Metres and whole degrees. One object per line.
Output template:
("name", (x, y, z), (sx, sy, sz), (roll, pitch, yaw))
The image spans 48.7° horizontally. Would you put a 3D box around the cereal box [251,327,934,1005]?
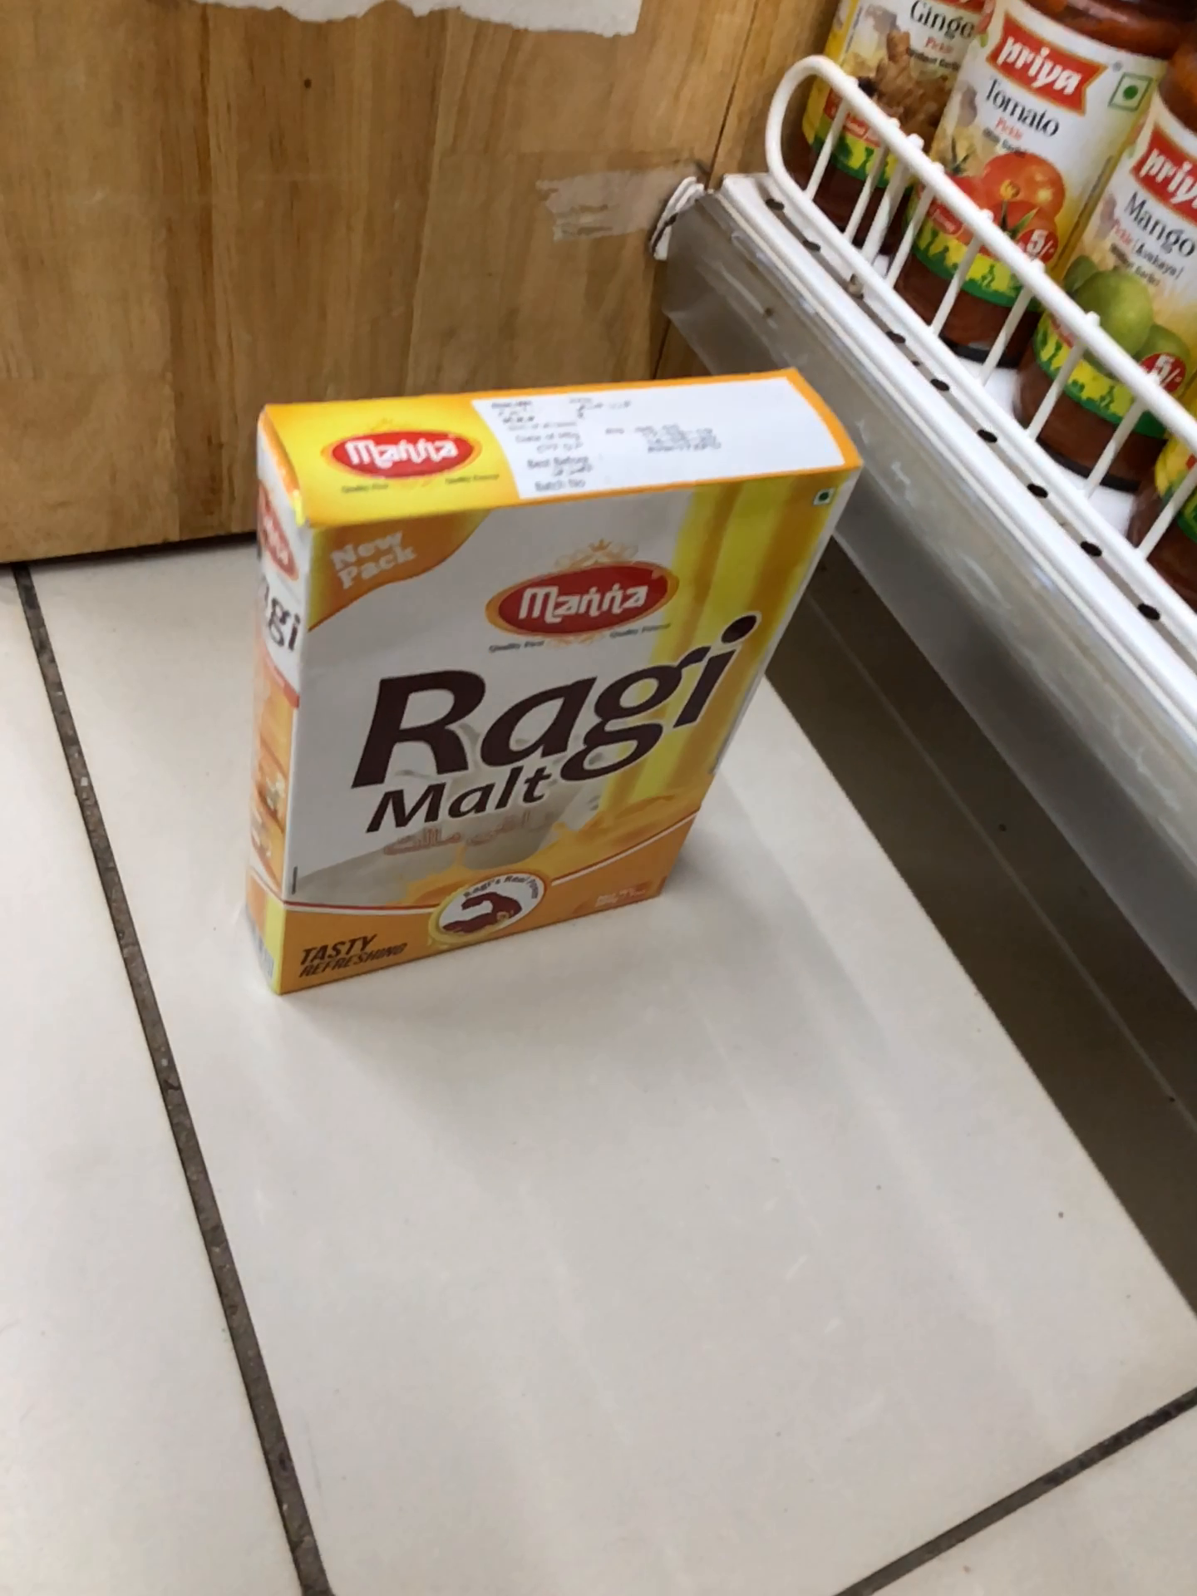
("cereal box", (-0.014, -0.027, 0.342), (0.140, 0.179, 0.040), (-12, 55, -23))
